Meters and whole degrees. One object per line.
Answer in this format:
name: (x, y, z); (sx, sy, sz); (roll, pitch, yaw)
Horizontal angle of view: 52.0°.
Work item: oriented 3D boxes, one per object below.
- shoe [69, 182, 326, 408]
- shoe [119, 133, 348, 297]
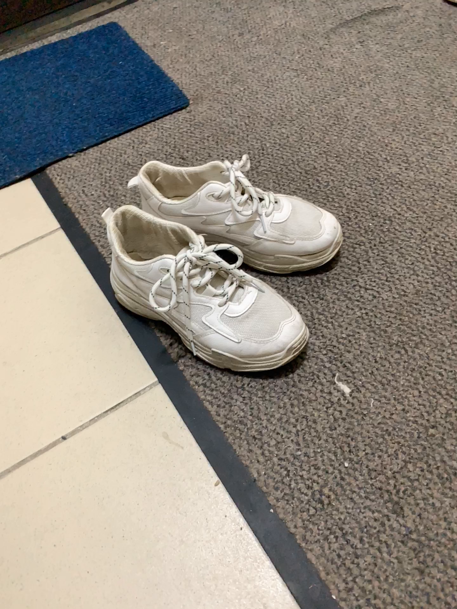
shoe: (-0.027, -0.013, 0.500); (0.230, 0.140, 0.100); (25, 62, 23)
shoe: (0.013, -0.107, 0.562); (0.230, 0.140, 0.100); (9, 57, 15)
